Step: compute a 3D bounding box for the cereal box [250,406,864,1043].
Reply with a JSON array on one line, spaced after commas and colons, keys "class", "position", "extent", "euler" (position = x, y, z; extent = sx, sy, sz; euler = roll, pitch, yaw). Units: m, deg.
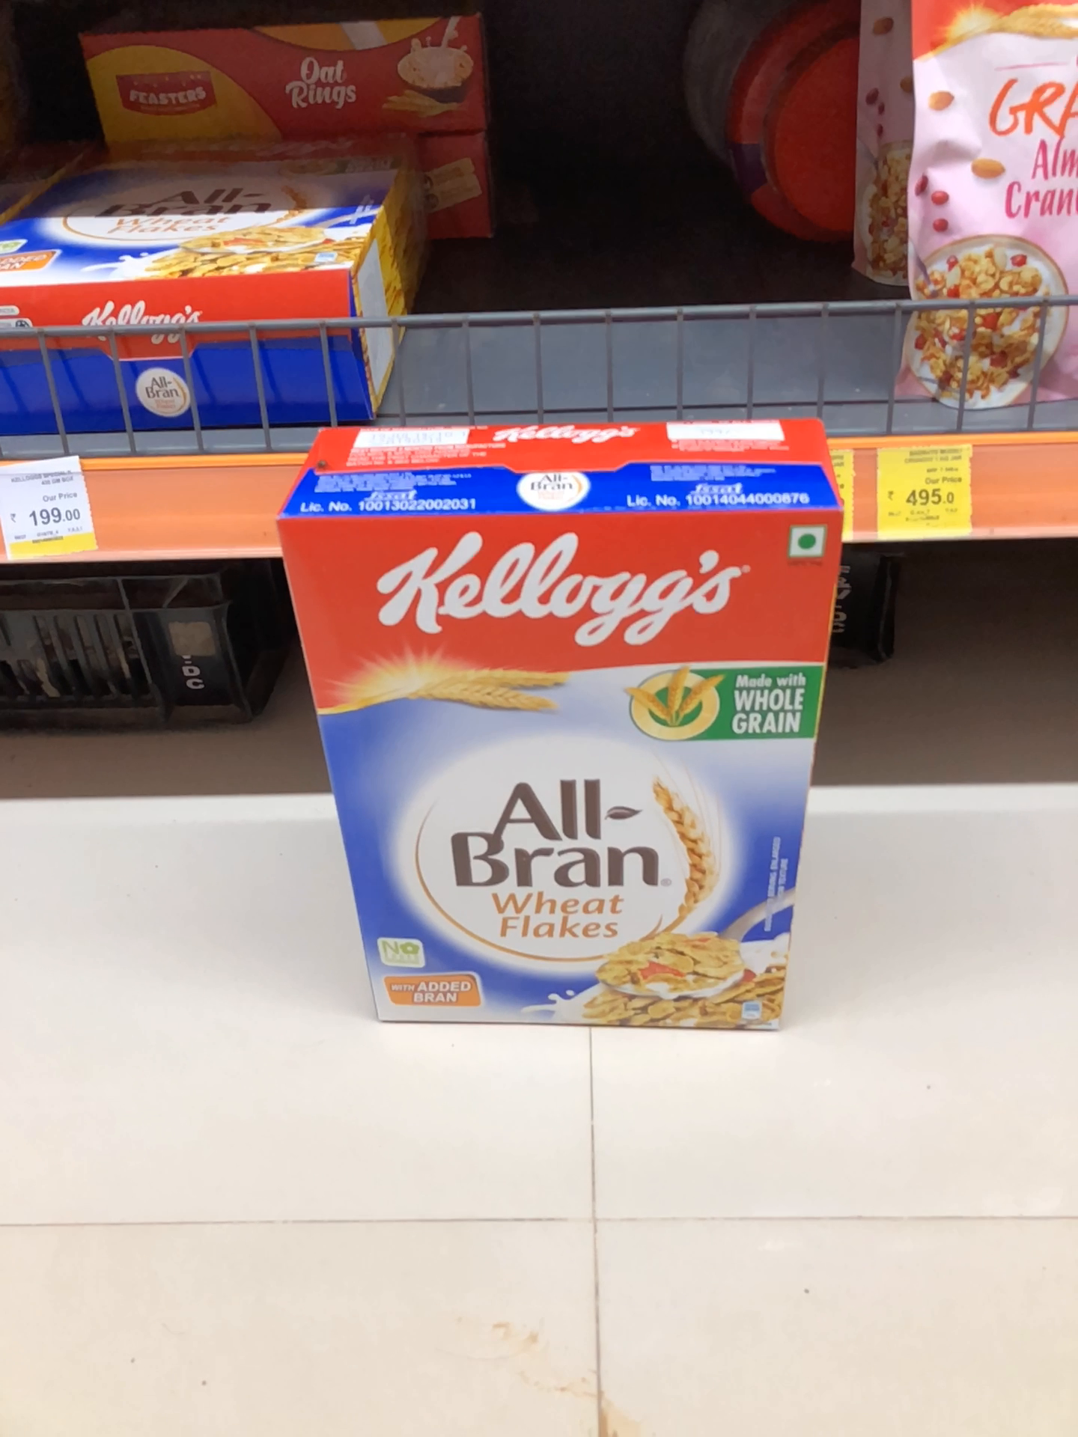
[{"class": "cereal box", "position": [0.012, 0.015, 0.476], "extent": [0.190, 0.258, 0.081], "euler": [0, 38, 4]}]
